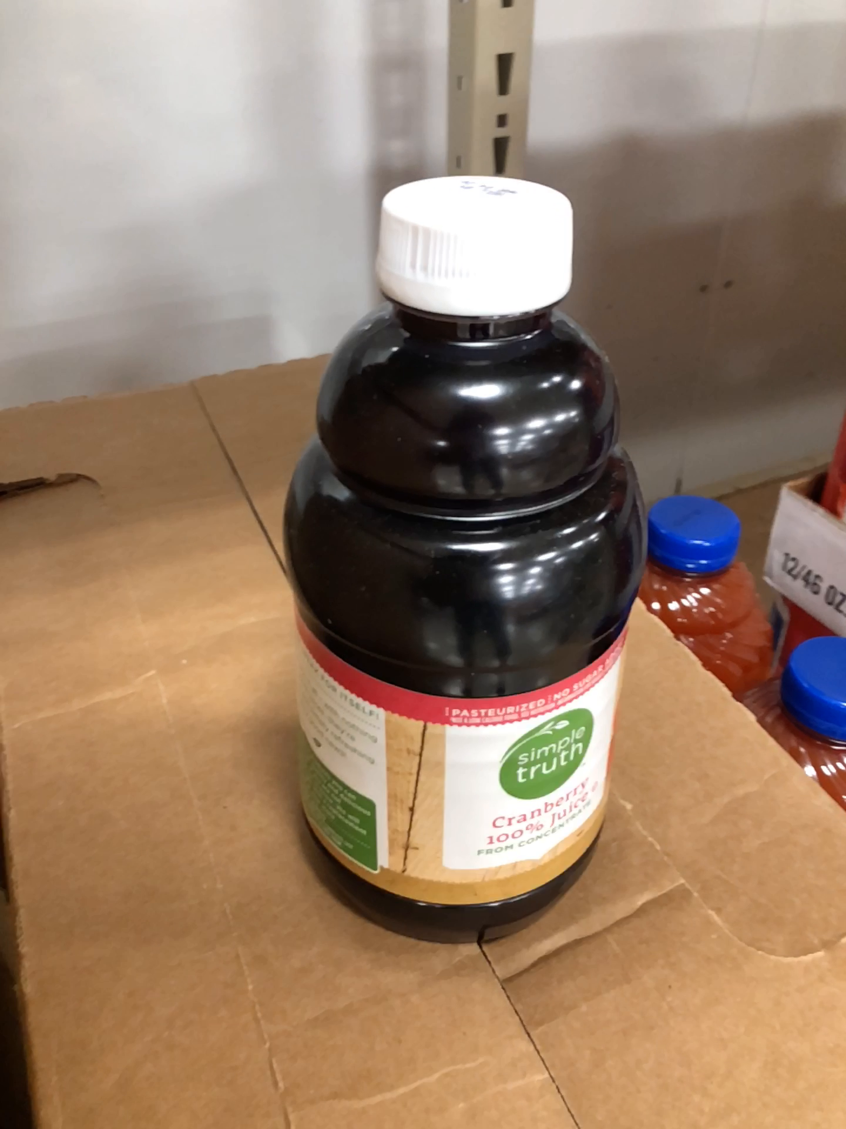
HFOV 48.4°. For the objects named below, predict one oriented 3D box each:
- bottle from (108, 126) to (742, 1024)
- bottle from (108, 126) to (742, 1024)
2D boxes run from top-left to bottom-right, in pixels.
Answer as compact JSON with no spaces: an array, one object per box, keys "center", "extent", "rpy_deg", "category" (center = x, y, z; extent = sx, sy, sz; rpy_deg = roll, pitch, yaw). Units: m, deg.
[{"center":[0.009,0.004,0.255],"extent":[0.100,0.199,0.110],"rpy_deg":[13,38,16],"category":"bottle"},{"center":[0.009,0.004,0.255],"extent":[0.100,0.199,0.110],"rpy_deg":[13,38,16],"category":"bottle"}]
